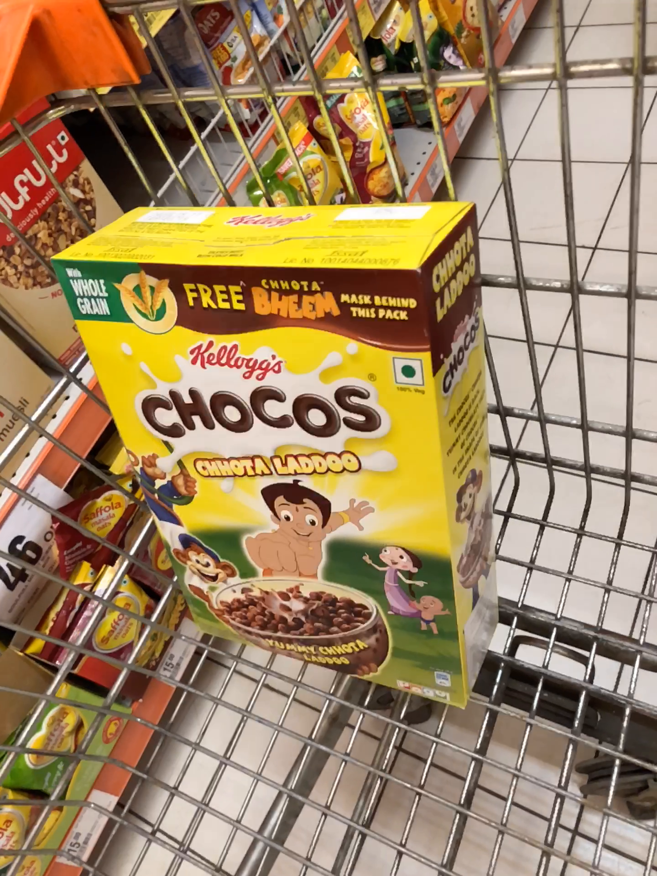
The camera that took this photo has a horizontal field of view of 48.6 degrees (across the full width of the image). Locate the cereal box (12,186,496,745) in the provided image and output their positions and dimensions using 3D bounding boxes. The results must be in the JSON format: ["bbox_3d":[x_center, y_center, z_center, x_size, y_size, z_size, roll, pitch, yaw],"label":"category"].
[{"bbox_3d":[-0.020,0.015,0.366,0.180,0.249,0.080,7,35,27],"label":"cereal box"}]
